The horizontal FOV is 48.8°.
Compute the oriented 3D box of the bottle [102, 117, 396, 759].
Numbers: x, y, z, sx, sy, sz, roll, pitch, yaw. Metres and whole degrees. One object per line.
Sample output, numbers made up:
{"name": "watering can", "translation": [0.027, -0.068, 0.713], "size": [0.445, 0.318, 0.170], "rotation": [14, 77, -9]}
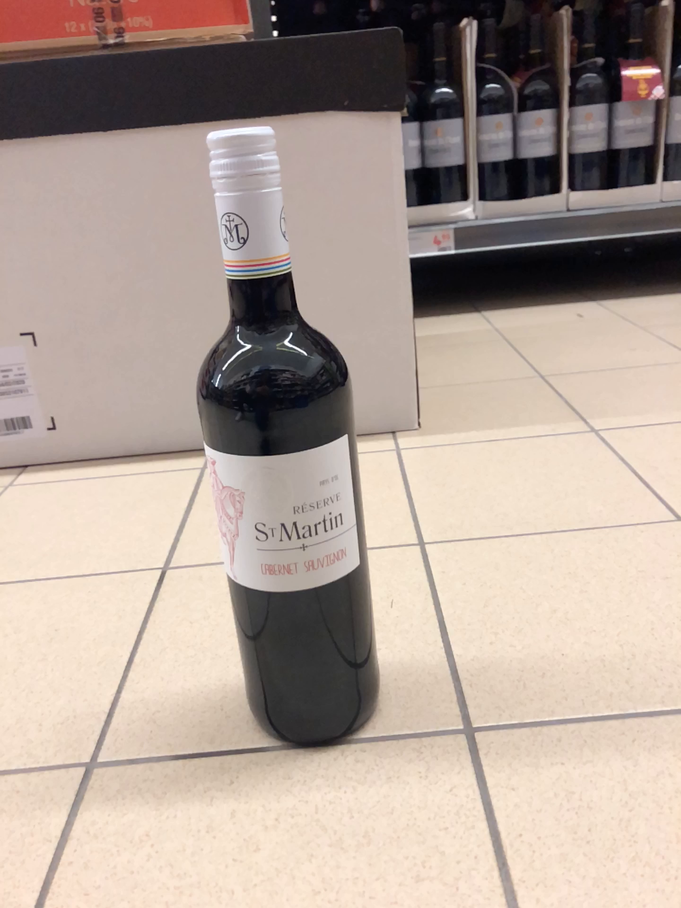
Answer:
{"name": "bottle", "translation": [-0.032, 0.000, 0.365], "size": [0.090, 0.289, 0.080], "rotation": [-6, 21, -1]}
